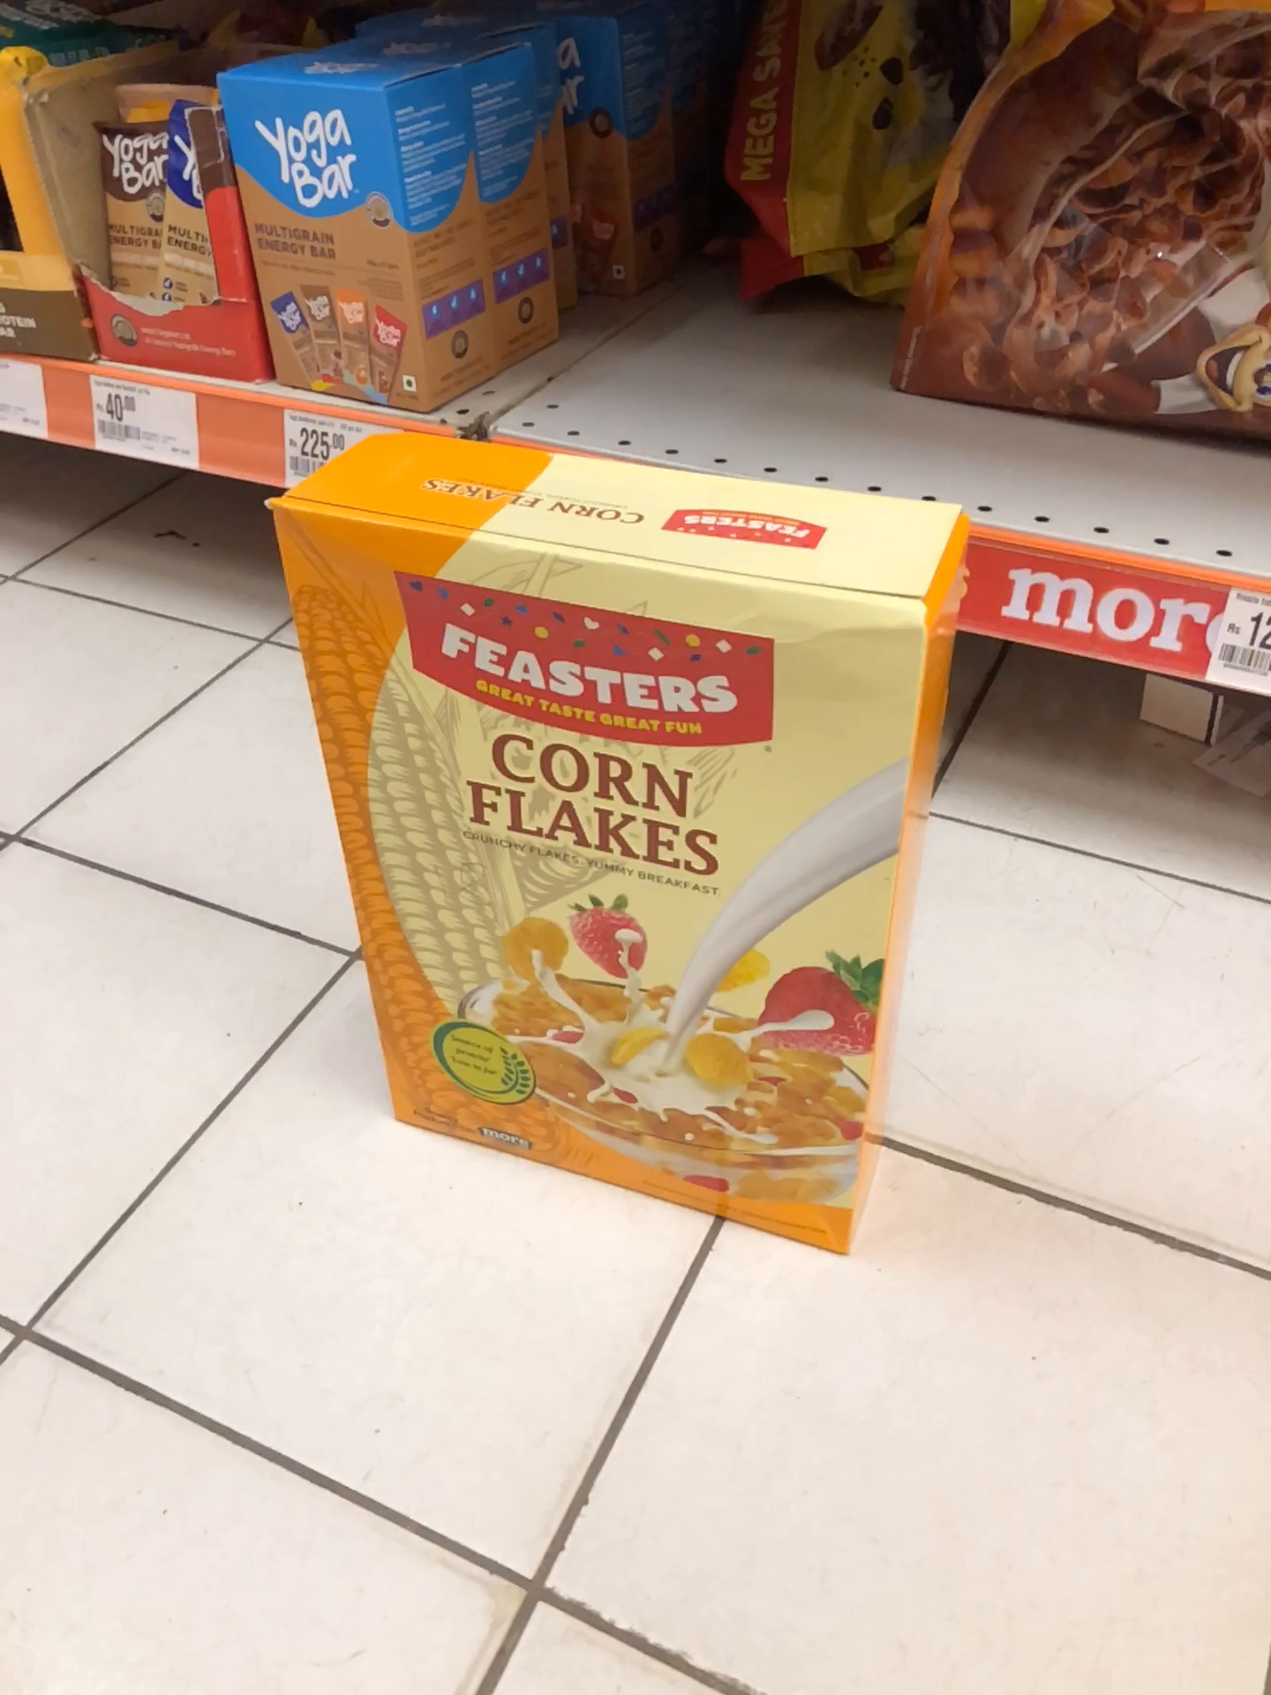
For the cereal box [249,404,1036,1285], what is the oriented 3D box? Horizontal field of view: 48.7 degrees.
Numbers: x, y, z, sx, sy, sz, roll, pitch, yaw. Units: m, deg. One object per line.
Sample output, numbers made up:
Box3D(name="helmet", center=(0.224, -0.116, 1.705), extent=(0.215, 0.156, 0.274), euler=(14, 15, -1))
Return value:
Box3D(name="cereal box", center=(0.003, 0.007, 0.432), extent=(0.190, 0.248, 0.060), euler=(14, 42, 18))
